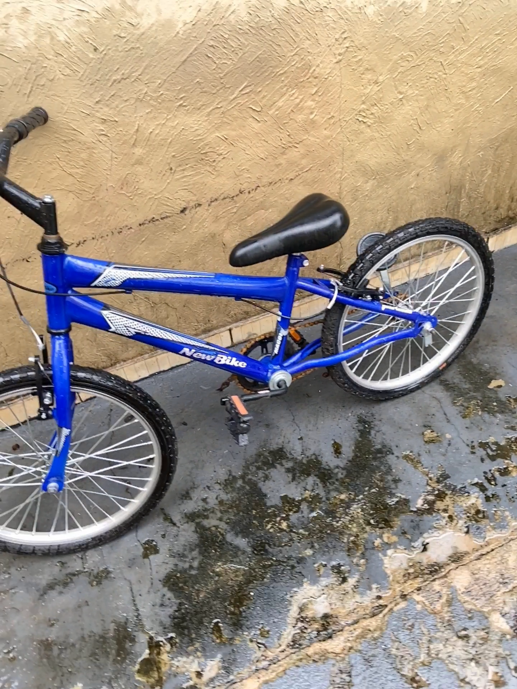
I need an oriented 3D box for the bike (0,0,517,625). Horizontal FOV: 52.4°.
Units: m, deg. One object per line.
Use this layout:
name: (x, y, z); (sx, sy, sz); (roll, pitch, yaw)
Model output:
bike: (-0.081, -0.138, 1.027); (1.250, 0.849, 0.545); (-20, 45, -14)
